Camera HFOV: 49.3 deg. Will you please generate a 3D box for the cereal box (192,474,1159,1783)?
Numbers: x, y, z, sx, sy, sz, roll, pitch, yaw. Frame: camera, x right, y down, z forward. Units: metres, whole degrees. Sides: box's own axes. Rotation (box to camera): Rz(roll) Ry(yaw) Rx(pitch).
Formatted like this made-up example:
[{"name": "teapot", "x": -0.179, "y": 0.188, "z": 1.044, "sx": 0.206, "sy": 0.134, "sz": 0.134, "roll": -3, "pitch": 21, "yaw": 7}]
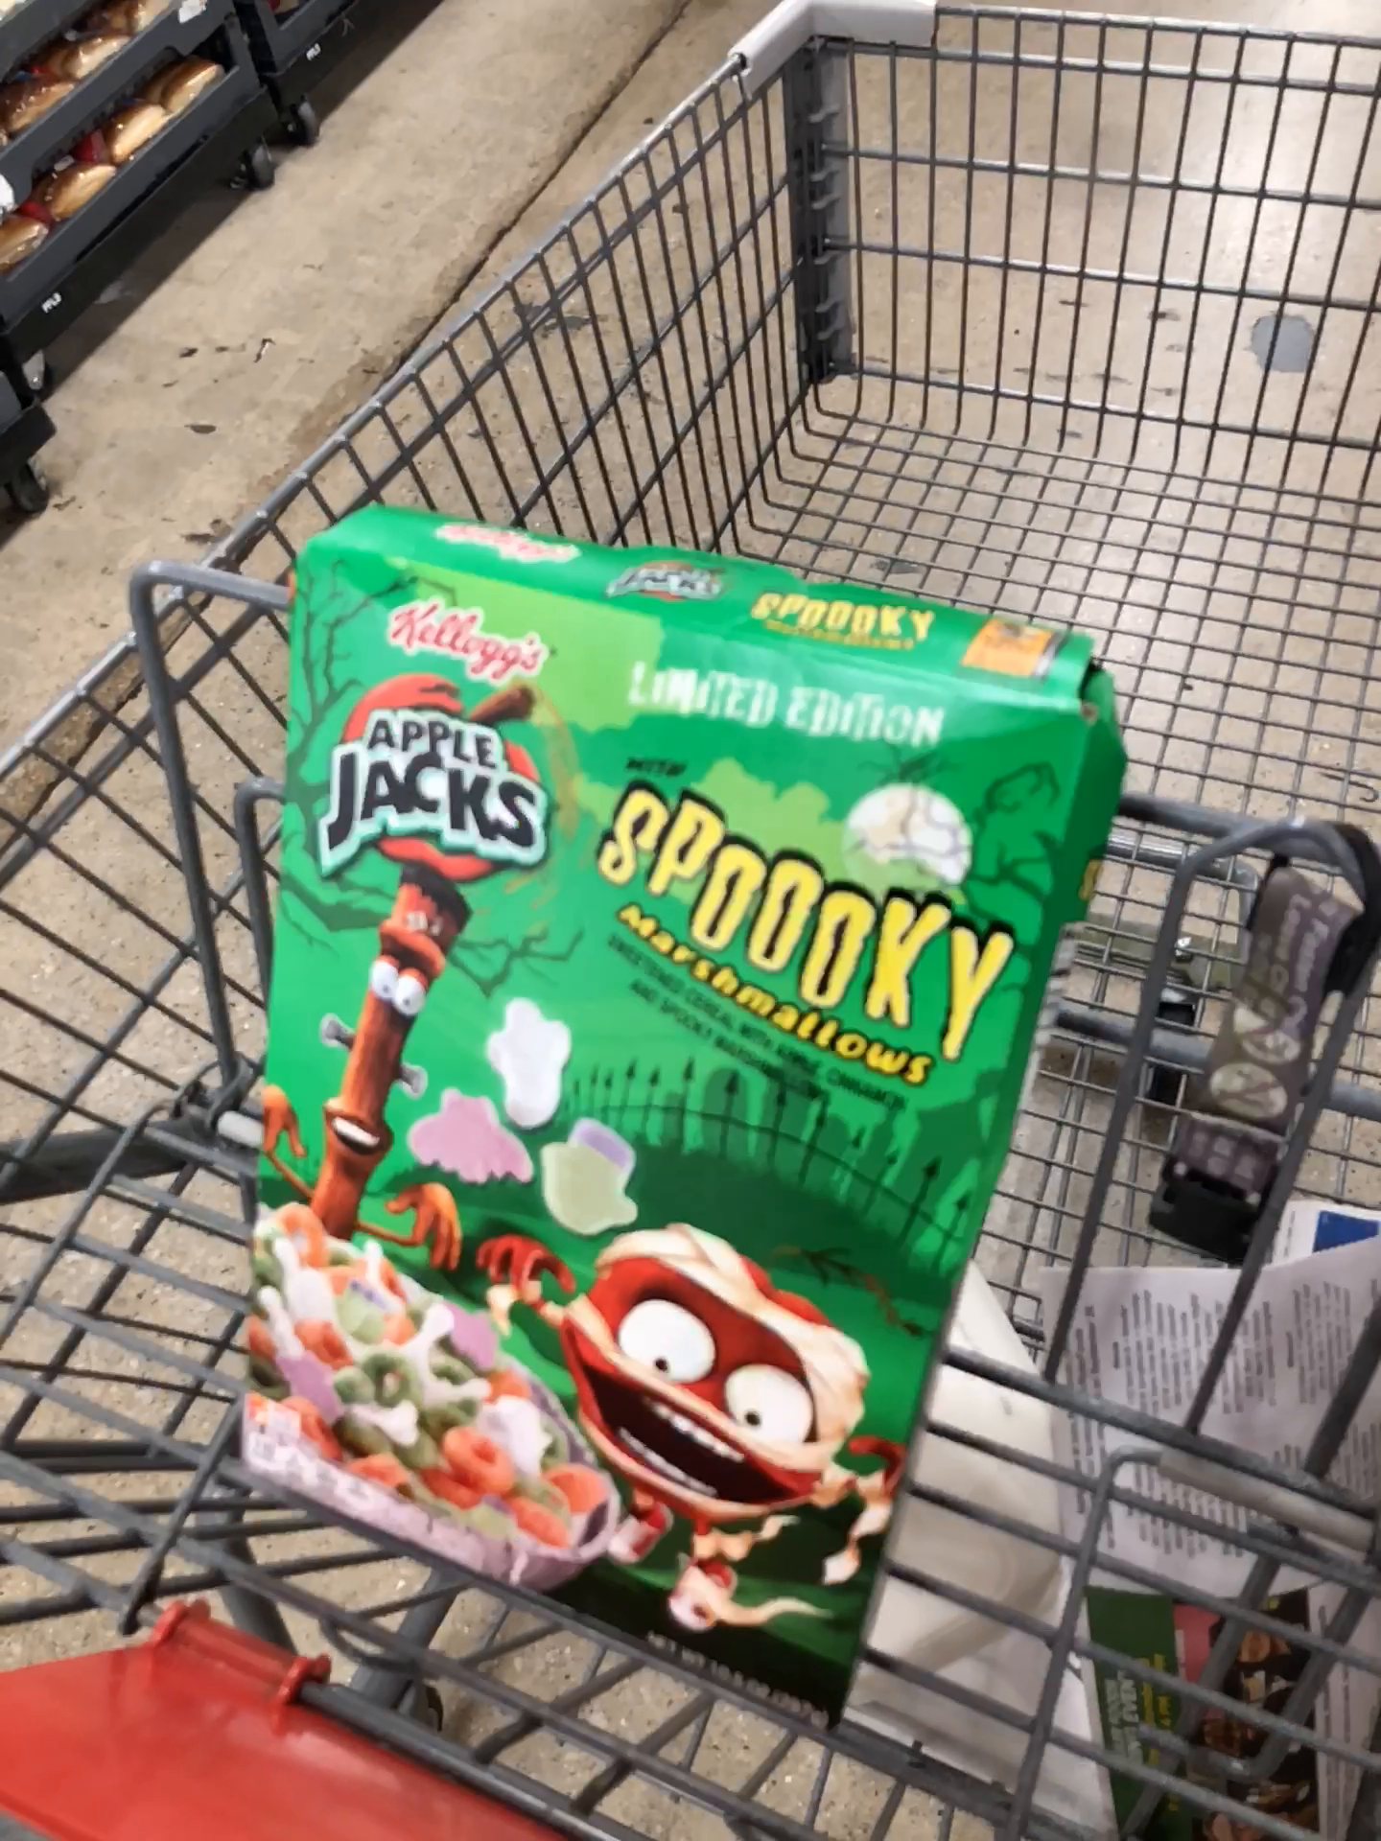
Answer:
[{"name": "cereal box", "x": -0.021, "y": 0.049, "z": 0.382, "sx": 0.200, "sy": 0.280, "sz": 0.070, "roll": 16, "pitch": 23, "yaw": 18}]
